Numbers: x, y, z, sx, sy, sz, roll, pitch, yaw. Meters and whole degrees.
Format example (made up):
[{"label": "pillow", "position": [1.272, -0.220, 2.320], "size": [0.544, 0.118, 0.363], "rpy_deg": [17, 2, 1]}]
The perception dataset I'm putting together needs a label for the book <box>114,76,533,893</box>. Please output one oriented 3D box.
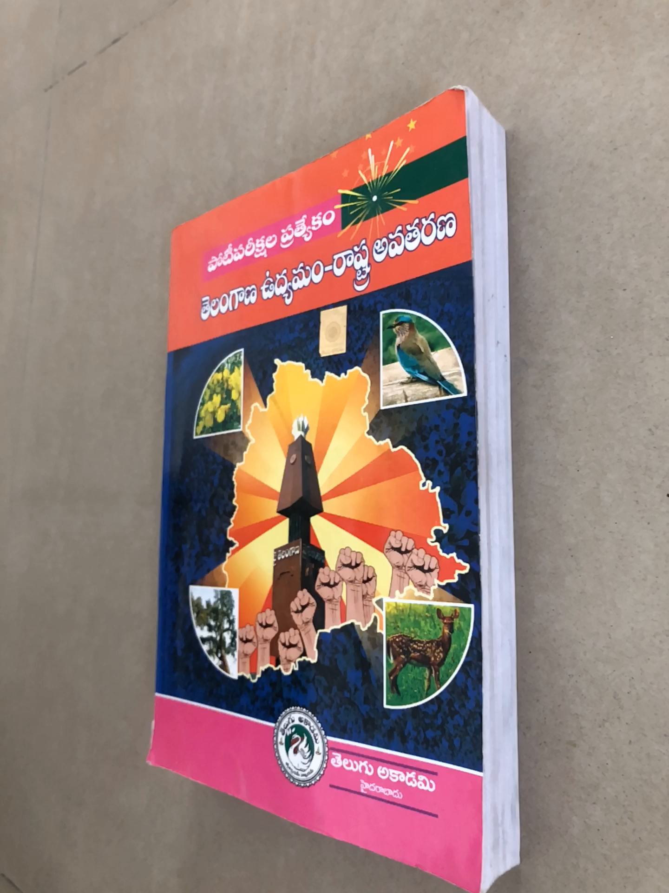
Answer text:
[{"label": "book", "position": [-0.019, 0.014, 0.324], "size": [0.203, 0.040, 0.265], "rpy_deg": [-7, 79, 44]}]
